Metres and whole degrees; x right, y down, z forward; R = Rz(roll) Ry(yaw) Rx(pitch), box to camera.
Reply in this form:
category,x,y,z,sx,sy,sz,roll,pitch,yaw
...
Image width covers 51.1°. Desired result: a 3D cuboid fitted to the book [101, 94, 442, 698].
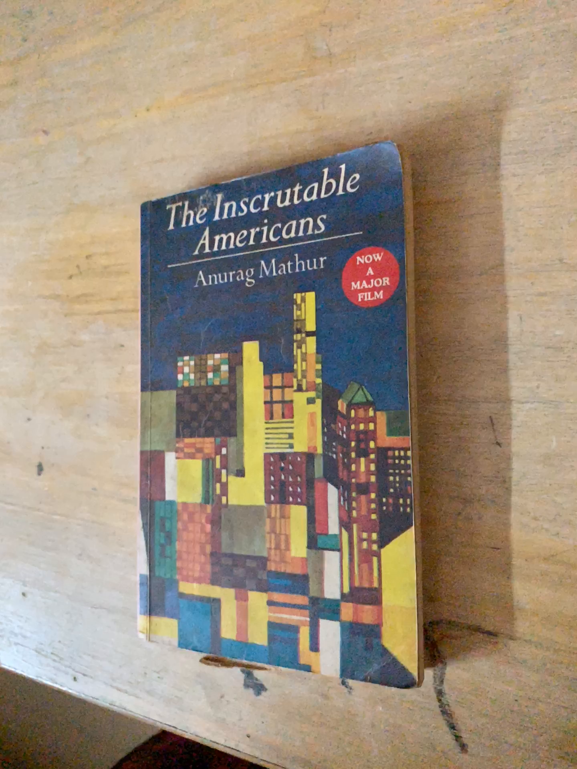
category,x,y,z,sx,sy,sz,roll,pitch,yaw
book,-0.012,0.004,0.220,0.120,0.030,0.180,-3,85,26
